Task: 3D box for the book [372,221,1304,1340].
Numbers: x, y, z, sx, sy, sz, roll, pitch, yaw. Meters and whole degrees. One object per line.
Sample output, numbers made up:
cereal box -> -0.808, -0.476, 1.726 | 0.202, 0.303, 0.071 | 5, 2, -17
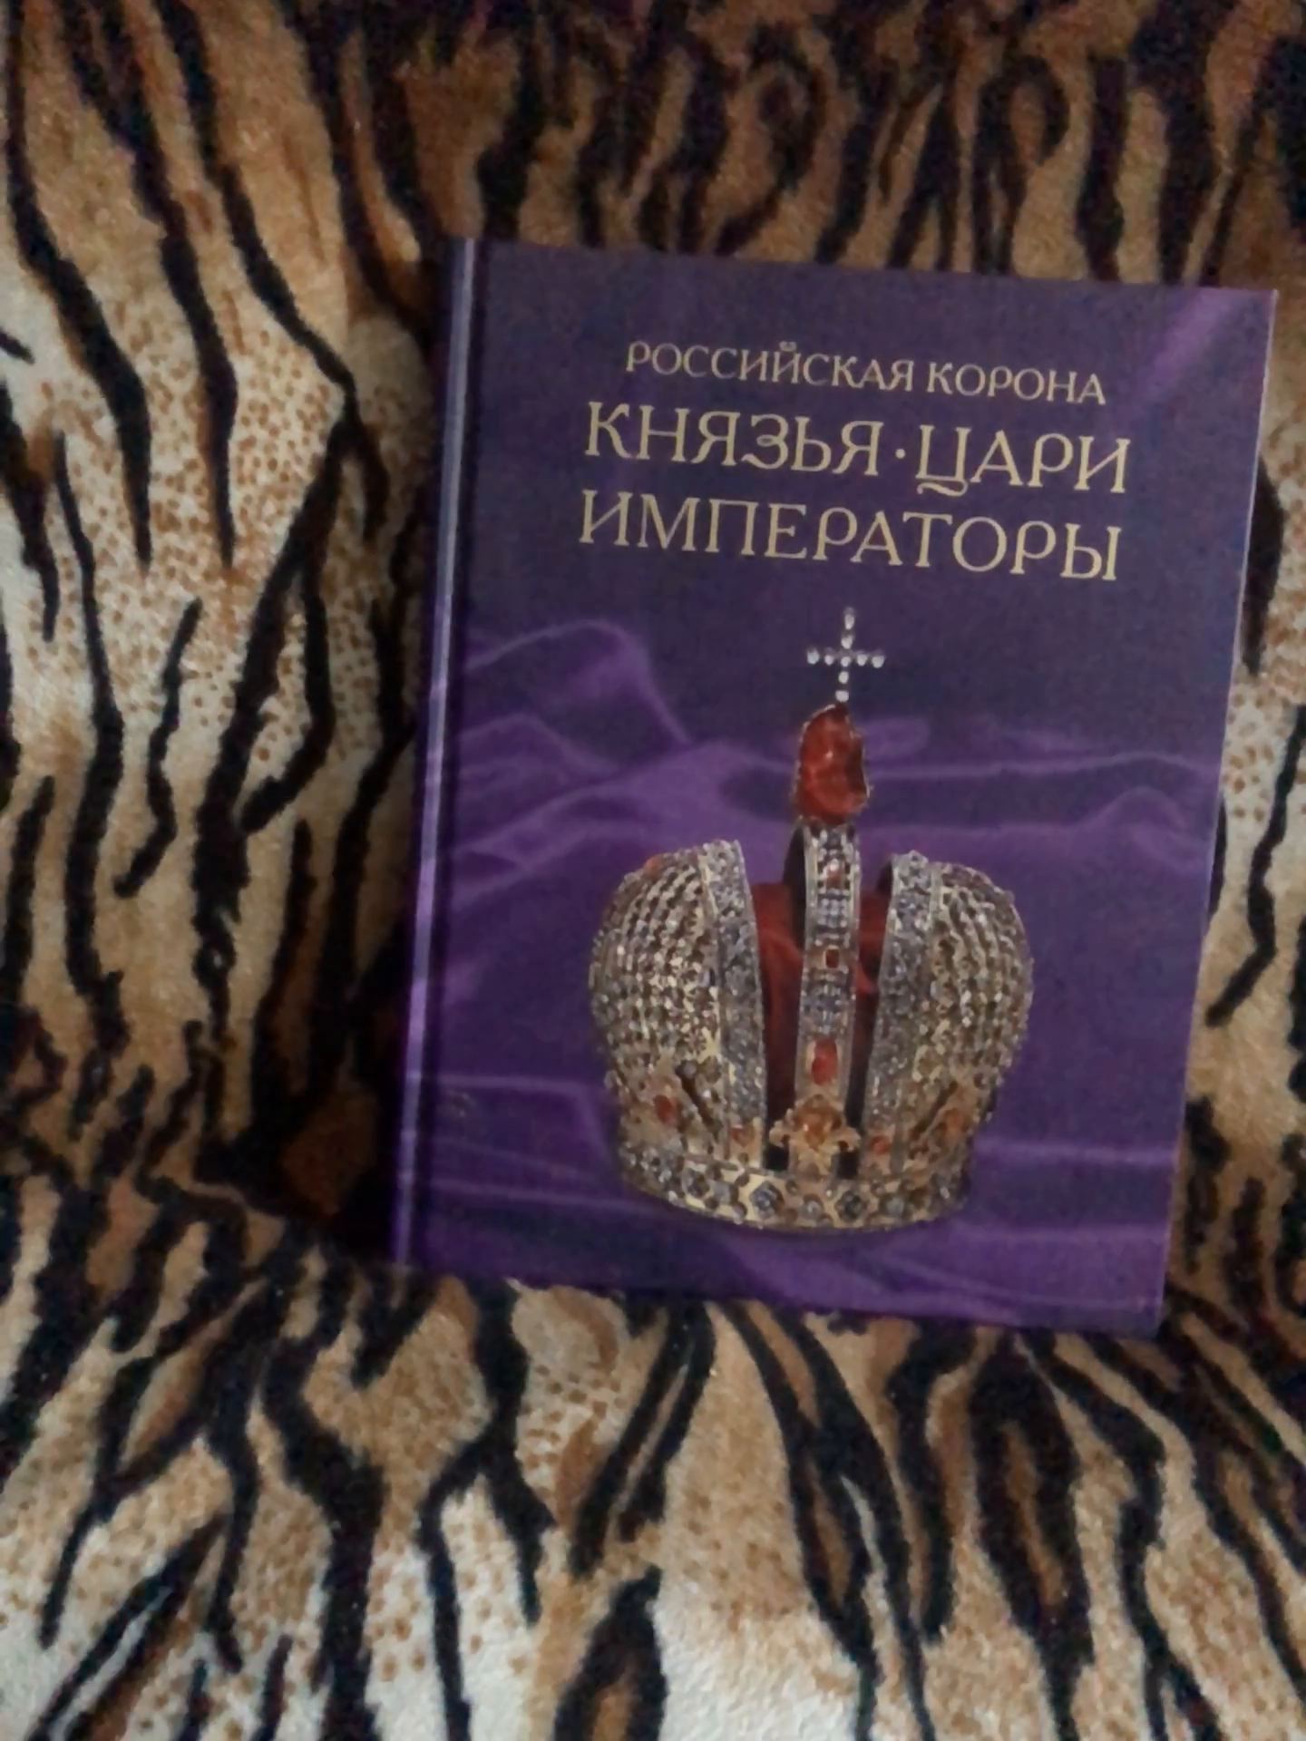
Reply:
book -> 0.043, -0.023, 0.398 | 0.223, 0.280, 0.035 | 4, 6, 4
